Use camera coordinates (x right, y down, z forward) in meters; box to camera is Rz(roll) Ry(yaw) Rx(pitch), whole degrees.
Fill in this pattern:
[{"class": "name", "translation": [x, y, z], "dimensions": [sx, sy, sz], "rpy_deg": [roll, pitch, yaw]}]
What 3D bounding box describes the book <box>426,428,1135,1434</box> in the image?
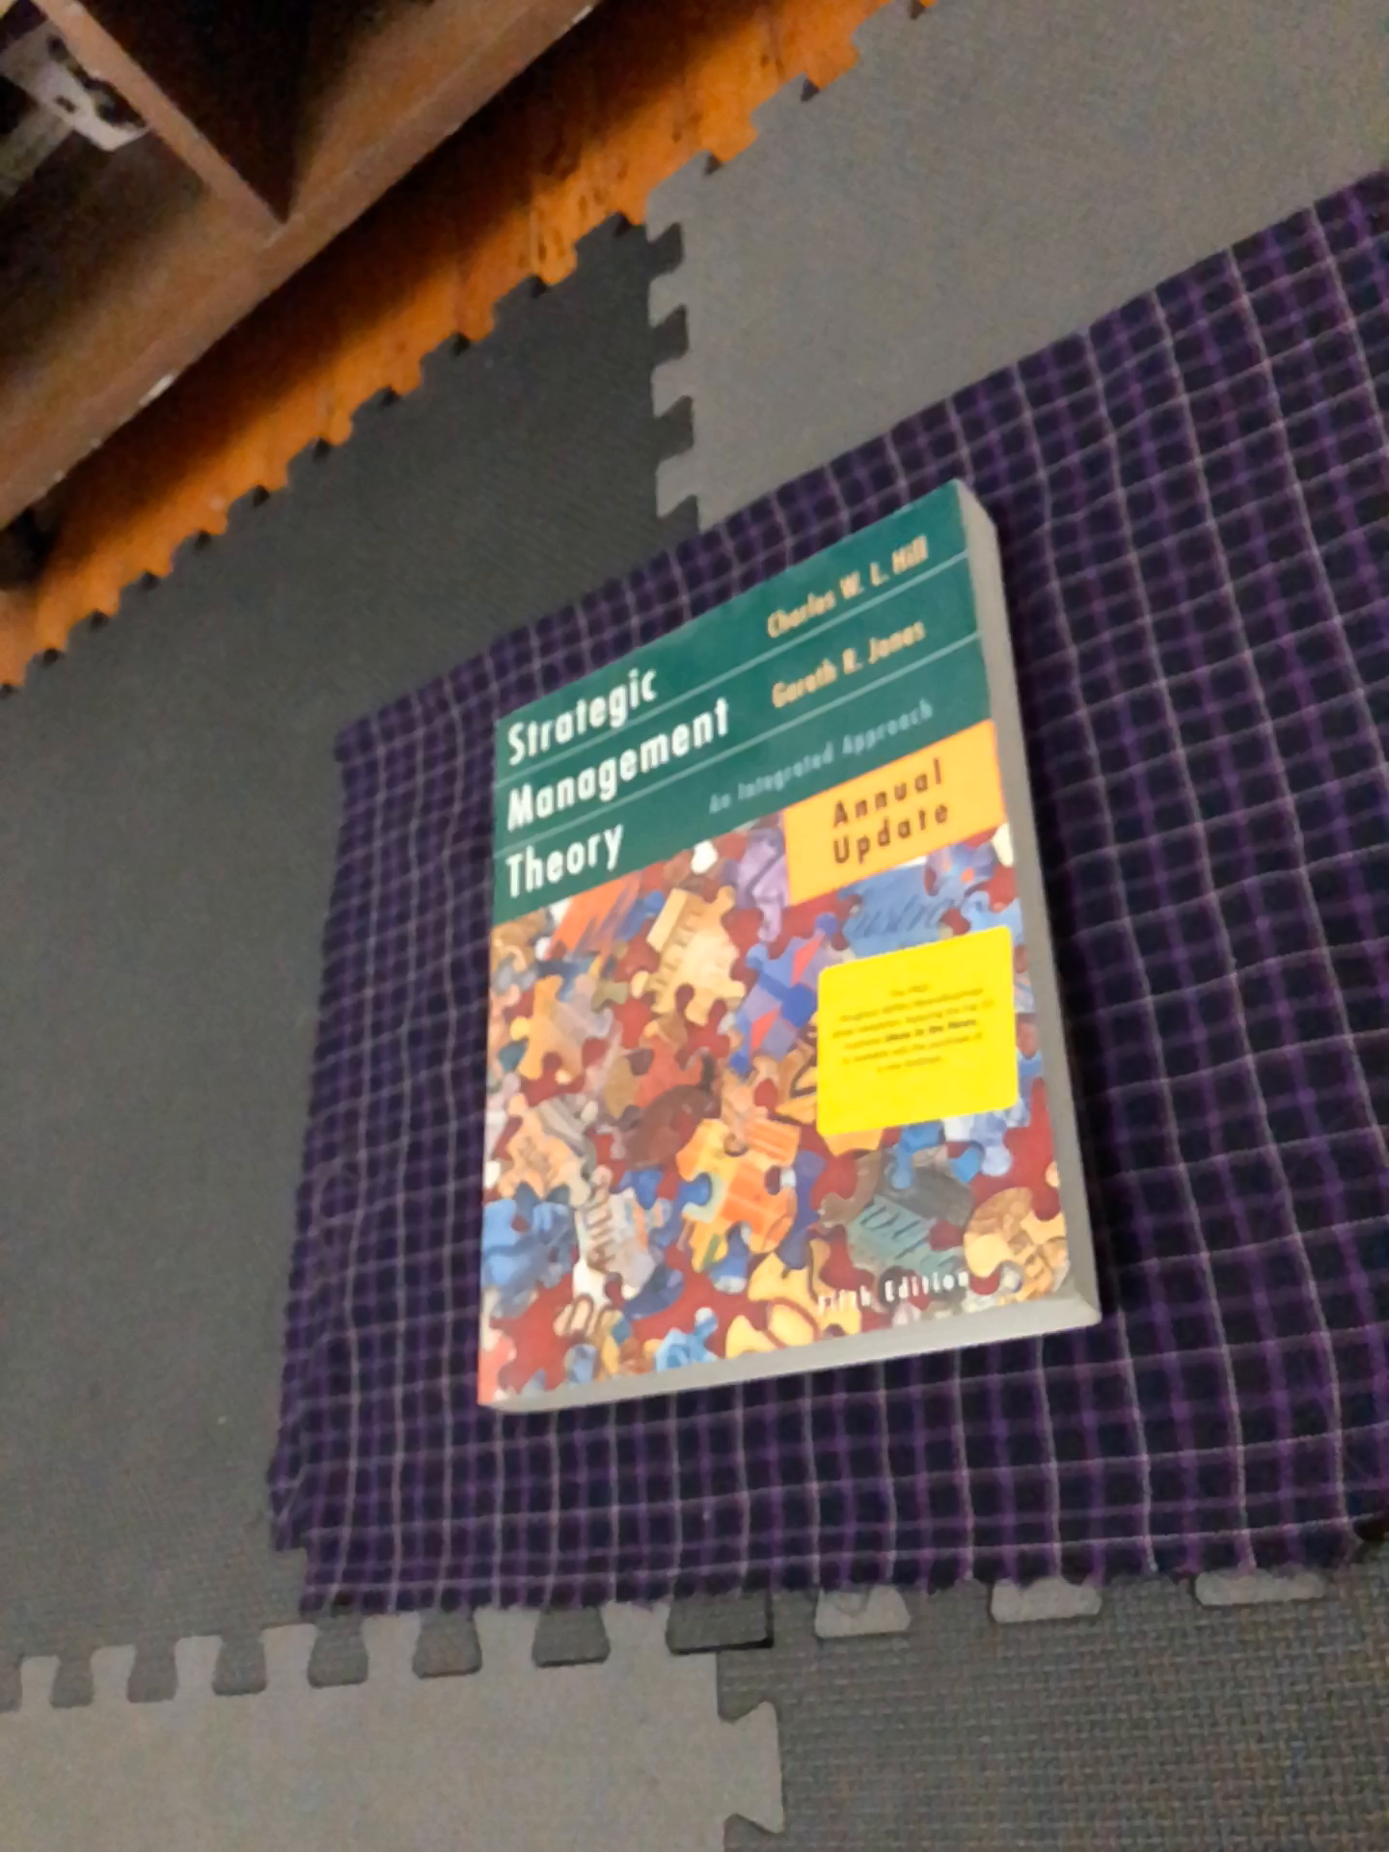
[{"class": "book", "translation": [0.008, 0.009, 0.512], "dimensions": [0.230, 0.040, 0.281], "rpy_deg": [-21, 60, 35]}]
